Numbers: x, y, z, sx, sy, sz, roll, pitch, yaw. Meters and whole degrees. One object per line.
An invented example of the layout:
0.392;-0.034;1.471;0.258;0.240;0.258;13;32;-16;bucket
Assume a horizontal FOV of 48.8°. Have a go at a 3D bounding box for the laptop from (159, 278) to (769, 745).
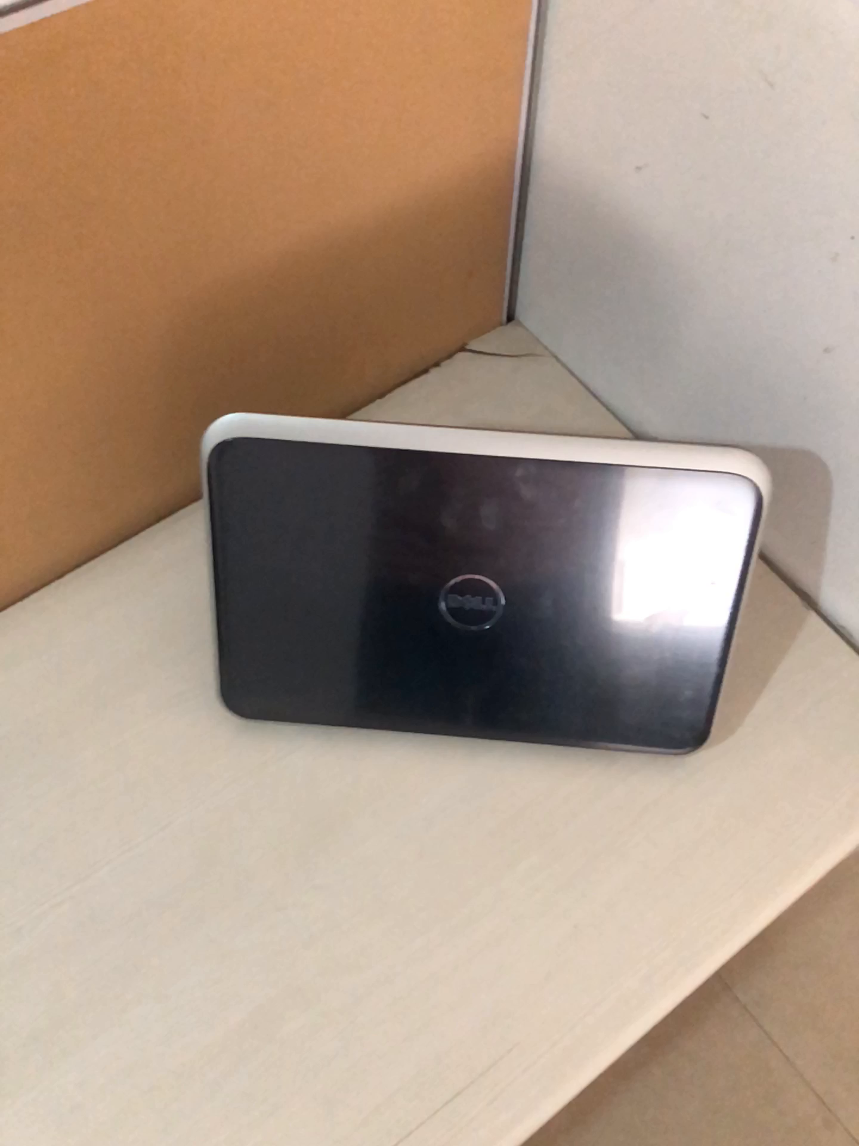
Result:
0.032;-0.038;0.679;0.347;0.193;0.241;5;61;1;laptop
